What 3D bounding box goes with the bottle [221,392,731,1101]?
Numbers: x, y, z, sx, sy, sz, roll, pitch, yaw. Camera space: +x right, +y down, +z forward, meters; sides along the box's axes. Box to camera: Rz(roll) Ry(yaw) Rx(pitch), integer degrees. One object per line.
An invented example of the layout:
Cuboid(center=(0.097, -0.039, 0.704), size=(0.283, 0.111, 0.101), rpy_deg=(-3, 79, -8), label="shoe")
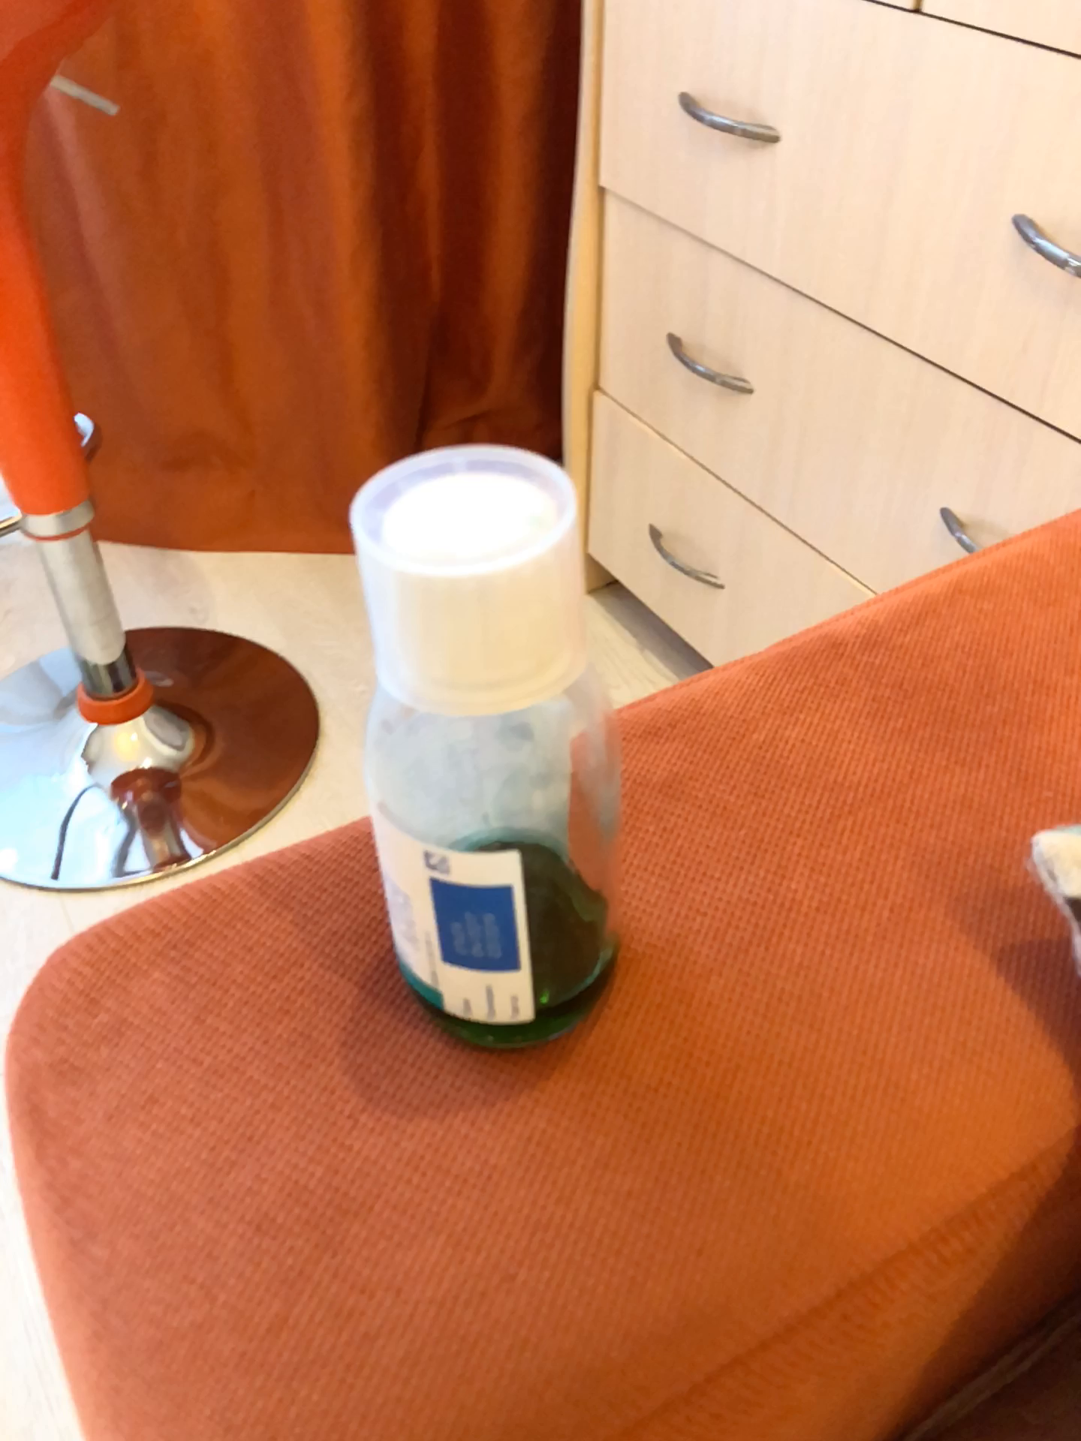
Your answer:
Cuboid(center=(-0.012, 0.006, 0.226), size=(0.060, 0.106, 0.060), rpy_deg=(0, 41, 0), label="bottle")
